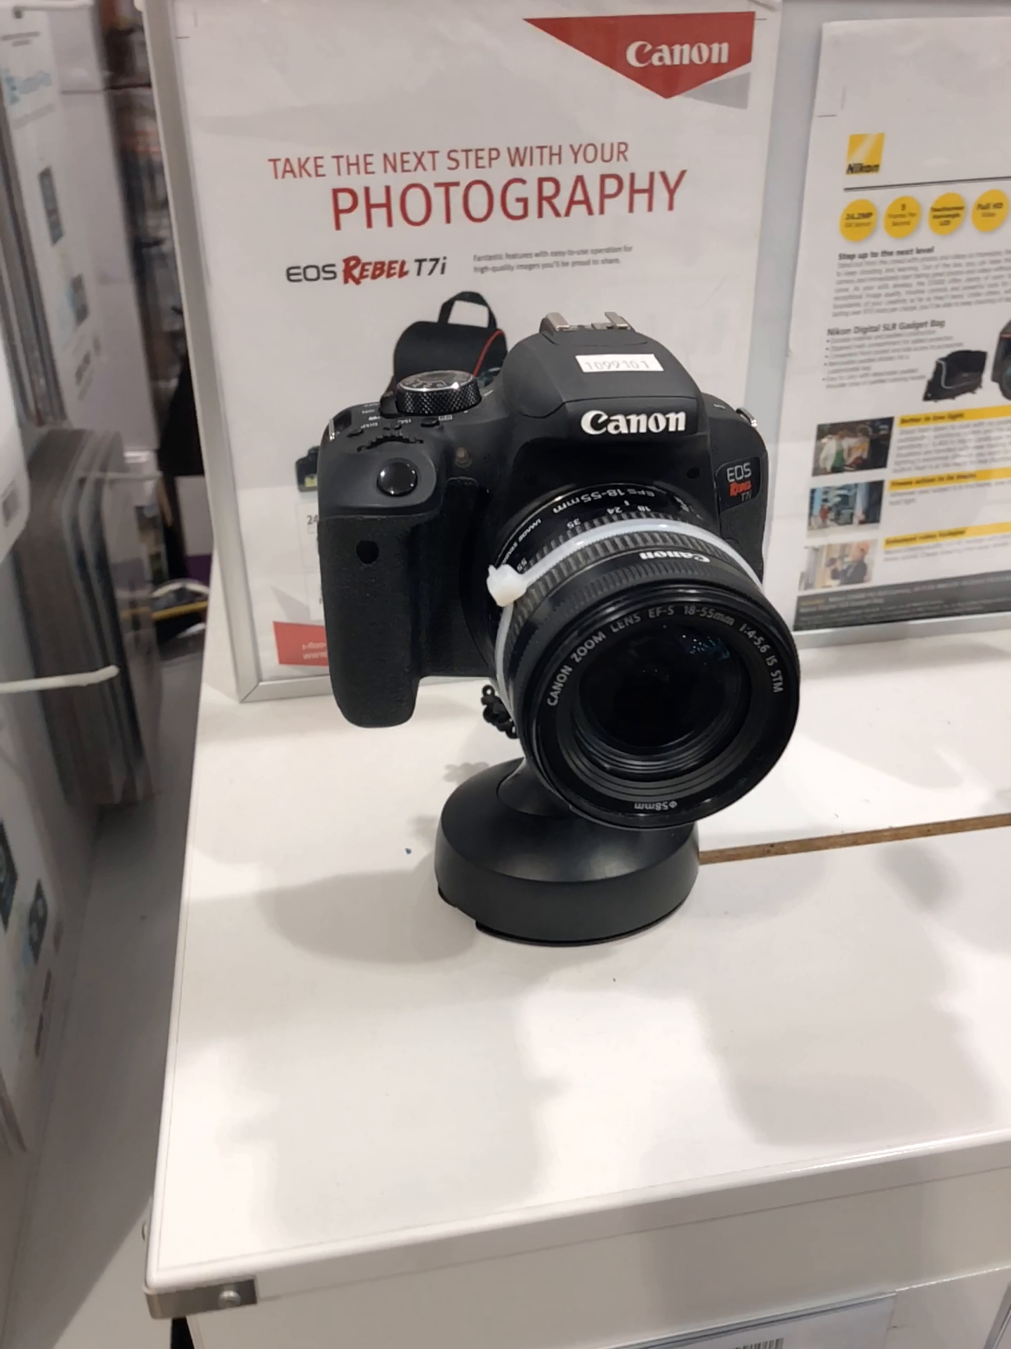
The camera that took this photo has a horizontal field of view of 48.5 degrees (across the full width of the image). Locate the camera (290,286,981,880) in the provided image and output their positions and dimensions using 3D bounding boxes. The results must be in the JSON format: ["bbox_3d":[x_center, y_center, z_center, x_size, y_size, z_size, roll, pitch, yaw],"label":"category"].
[{"bbox_3d":[0.018,-0.032,0.283,0.130,0.100,0.121,-4,30,-7],"label":"camera"}]
